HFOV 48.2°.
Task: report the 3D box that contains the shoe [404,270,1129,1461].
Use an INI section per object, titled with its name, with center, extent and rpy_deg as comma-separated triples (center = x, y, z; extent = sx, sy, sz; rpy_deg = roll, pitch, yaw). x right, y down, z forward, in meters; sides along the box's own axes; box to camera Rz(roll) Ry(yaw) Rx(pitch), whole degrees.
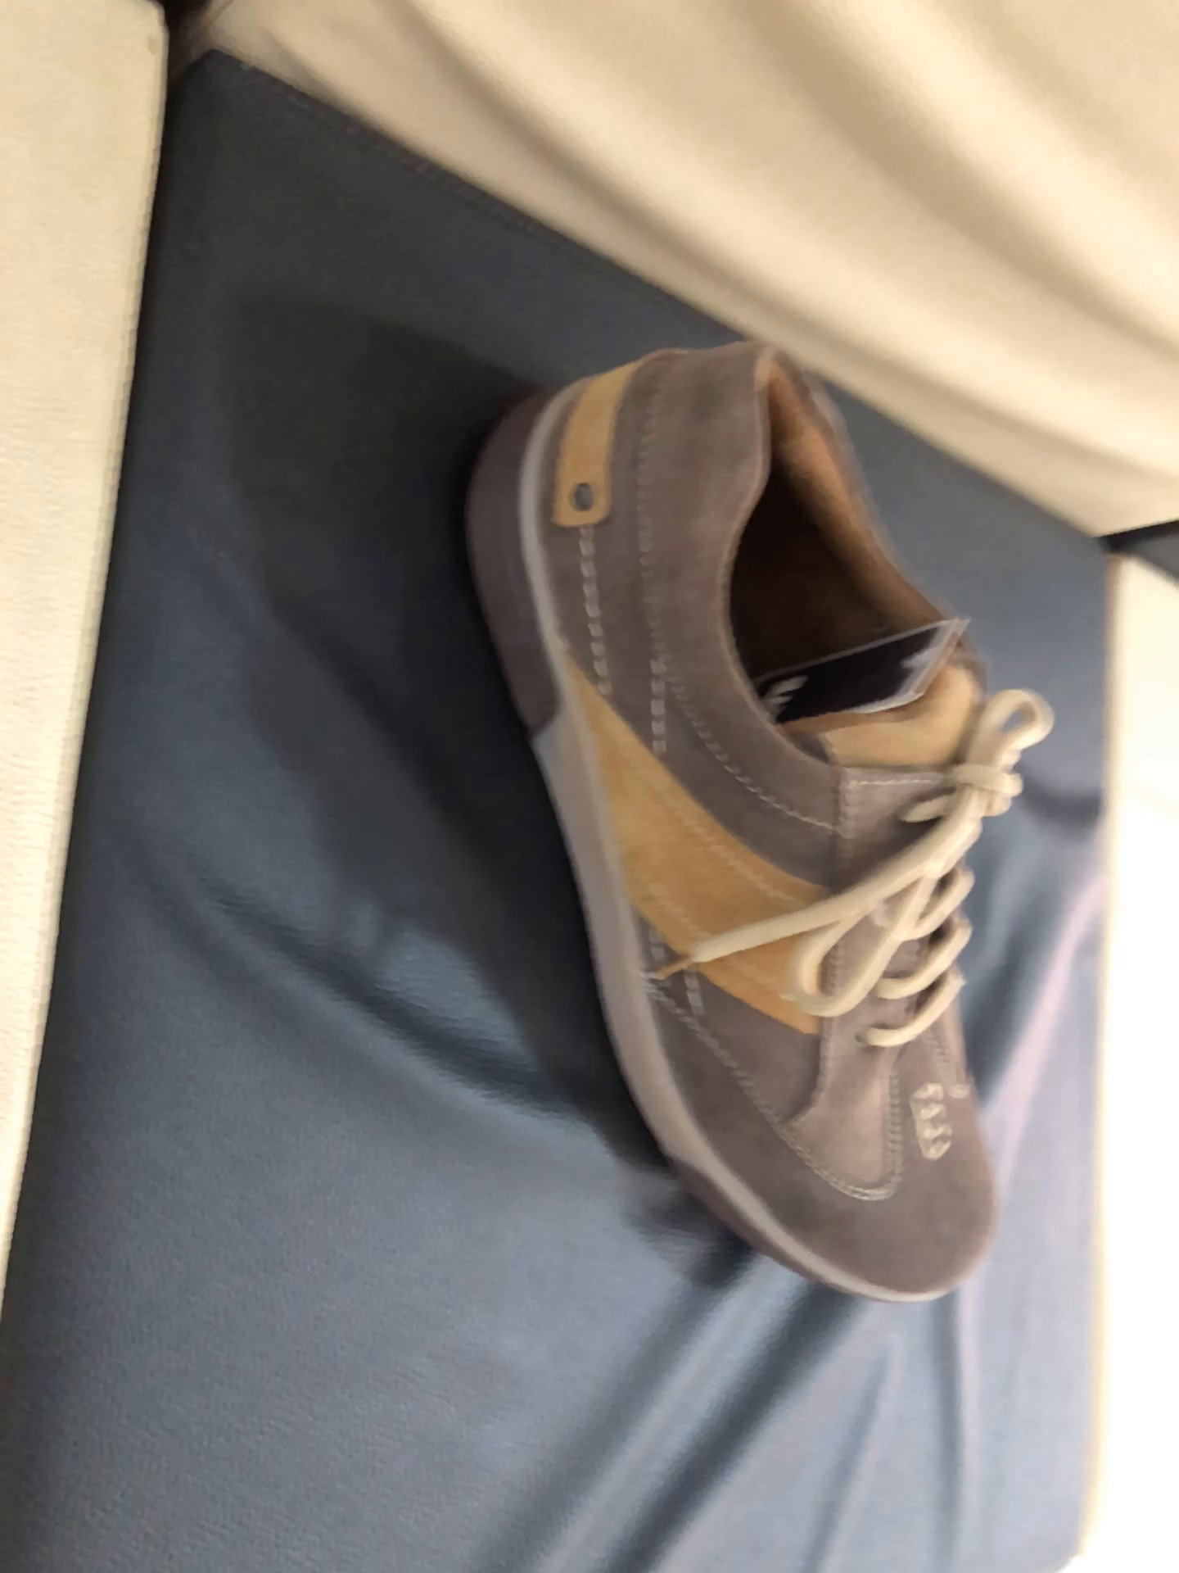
[shoe]
center = 0.058, 0.021, 0.369
extent = 0.101, 0.079, 0.290
rpy_deg = -28, 105, -39
